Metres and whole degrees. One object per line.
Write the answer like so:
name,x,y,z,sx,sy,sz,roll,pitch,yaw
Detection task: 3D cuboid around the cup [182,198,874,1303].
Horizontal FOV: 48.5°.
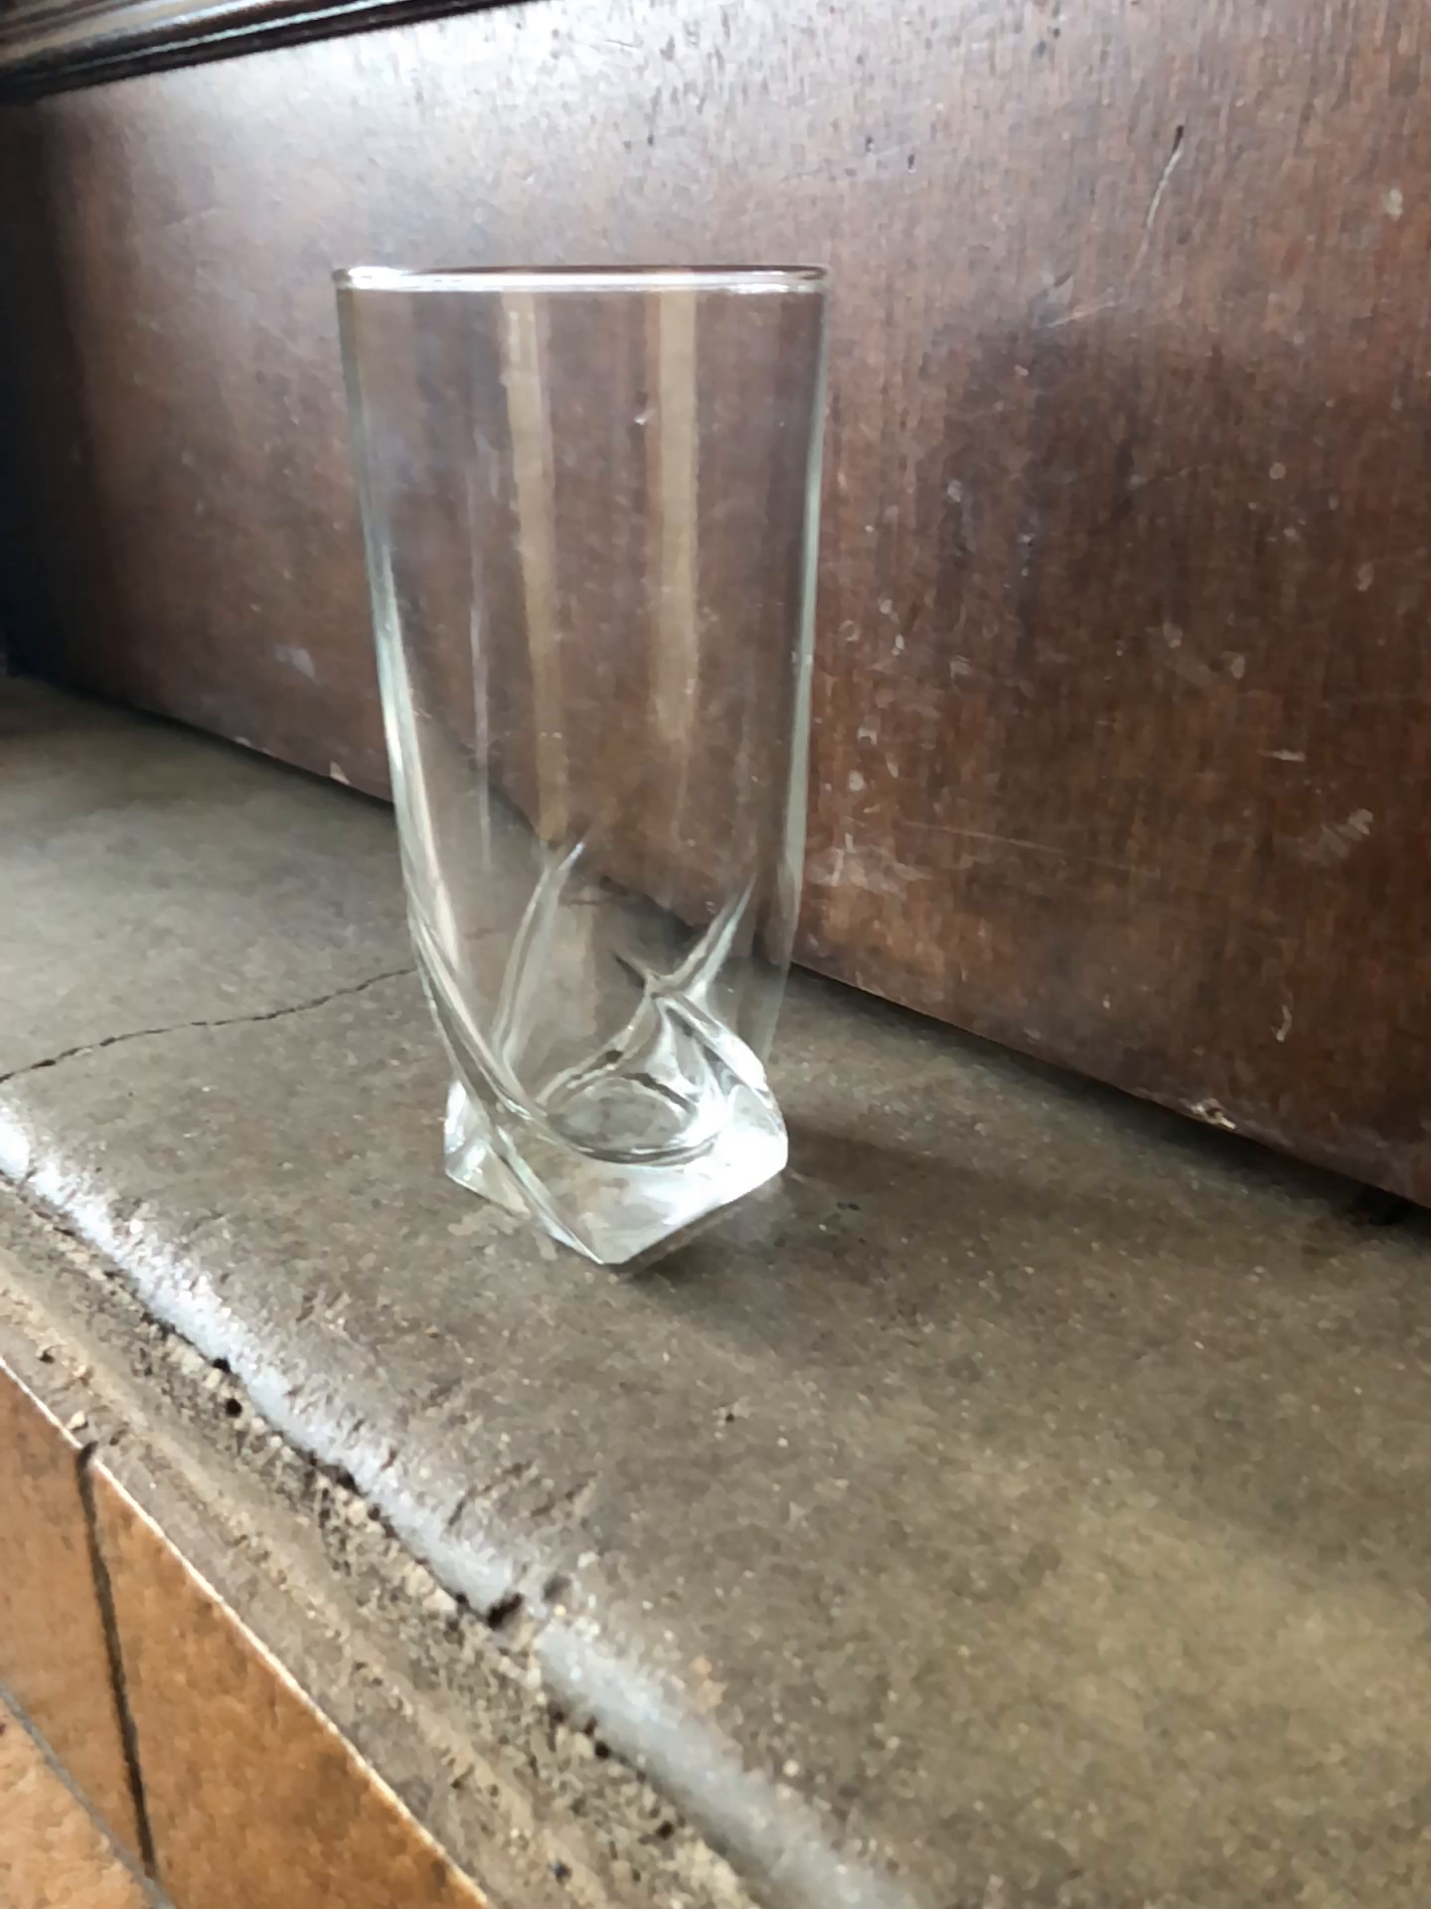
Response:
cup,-0.025,-0.034,0.237,0.070,0.139,0.060,20,30,40
